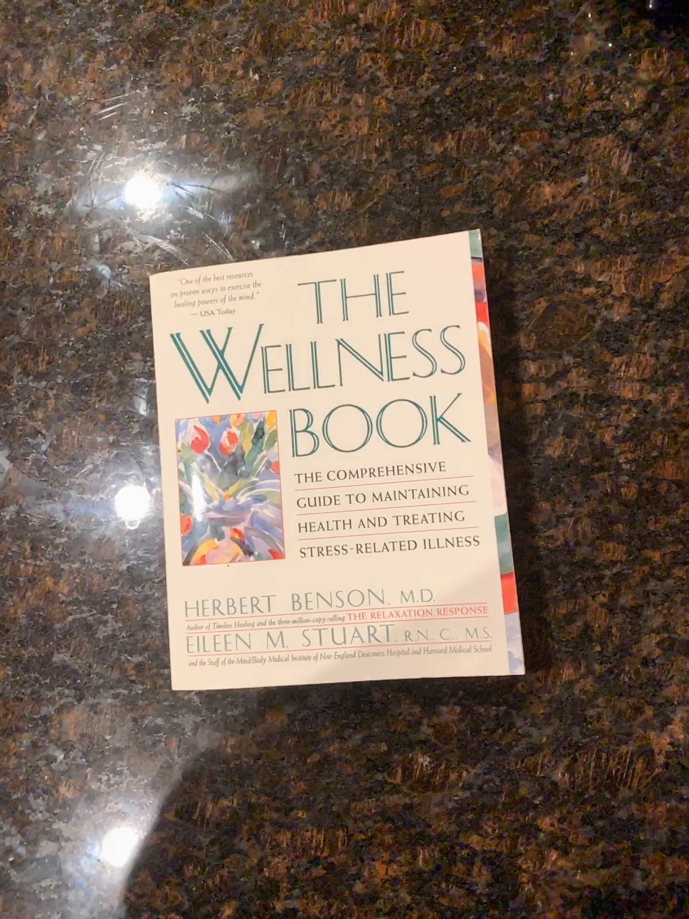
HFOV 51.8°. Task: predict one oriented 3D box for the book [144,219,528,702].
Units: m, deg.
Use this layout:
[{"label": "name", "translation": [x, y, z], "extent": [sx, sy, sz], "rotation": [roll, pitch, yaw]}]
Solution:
[{"label": "book", "translation": [-0.007, 0.003, 0.404], "extent": [0.187, 0.060, 0.240], "rotation": [-5, 84, 8]}]
